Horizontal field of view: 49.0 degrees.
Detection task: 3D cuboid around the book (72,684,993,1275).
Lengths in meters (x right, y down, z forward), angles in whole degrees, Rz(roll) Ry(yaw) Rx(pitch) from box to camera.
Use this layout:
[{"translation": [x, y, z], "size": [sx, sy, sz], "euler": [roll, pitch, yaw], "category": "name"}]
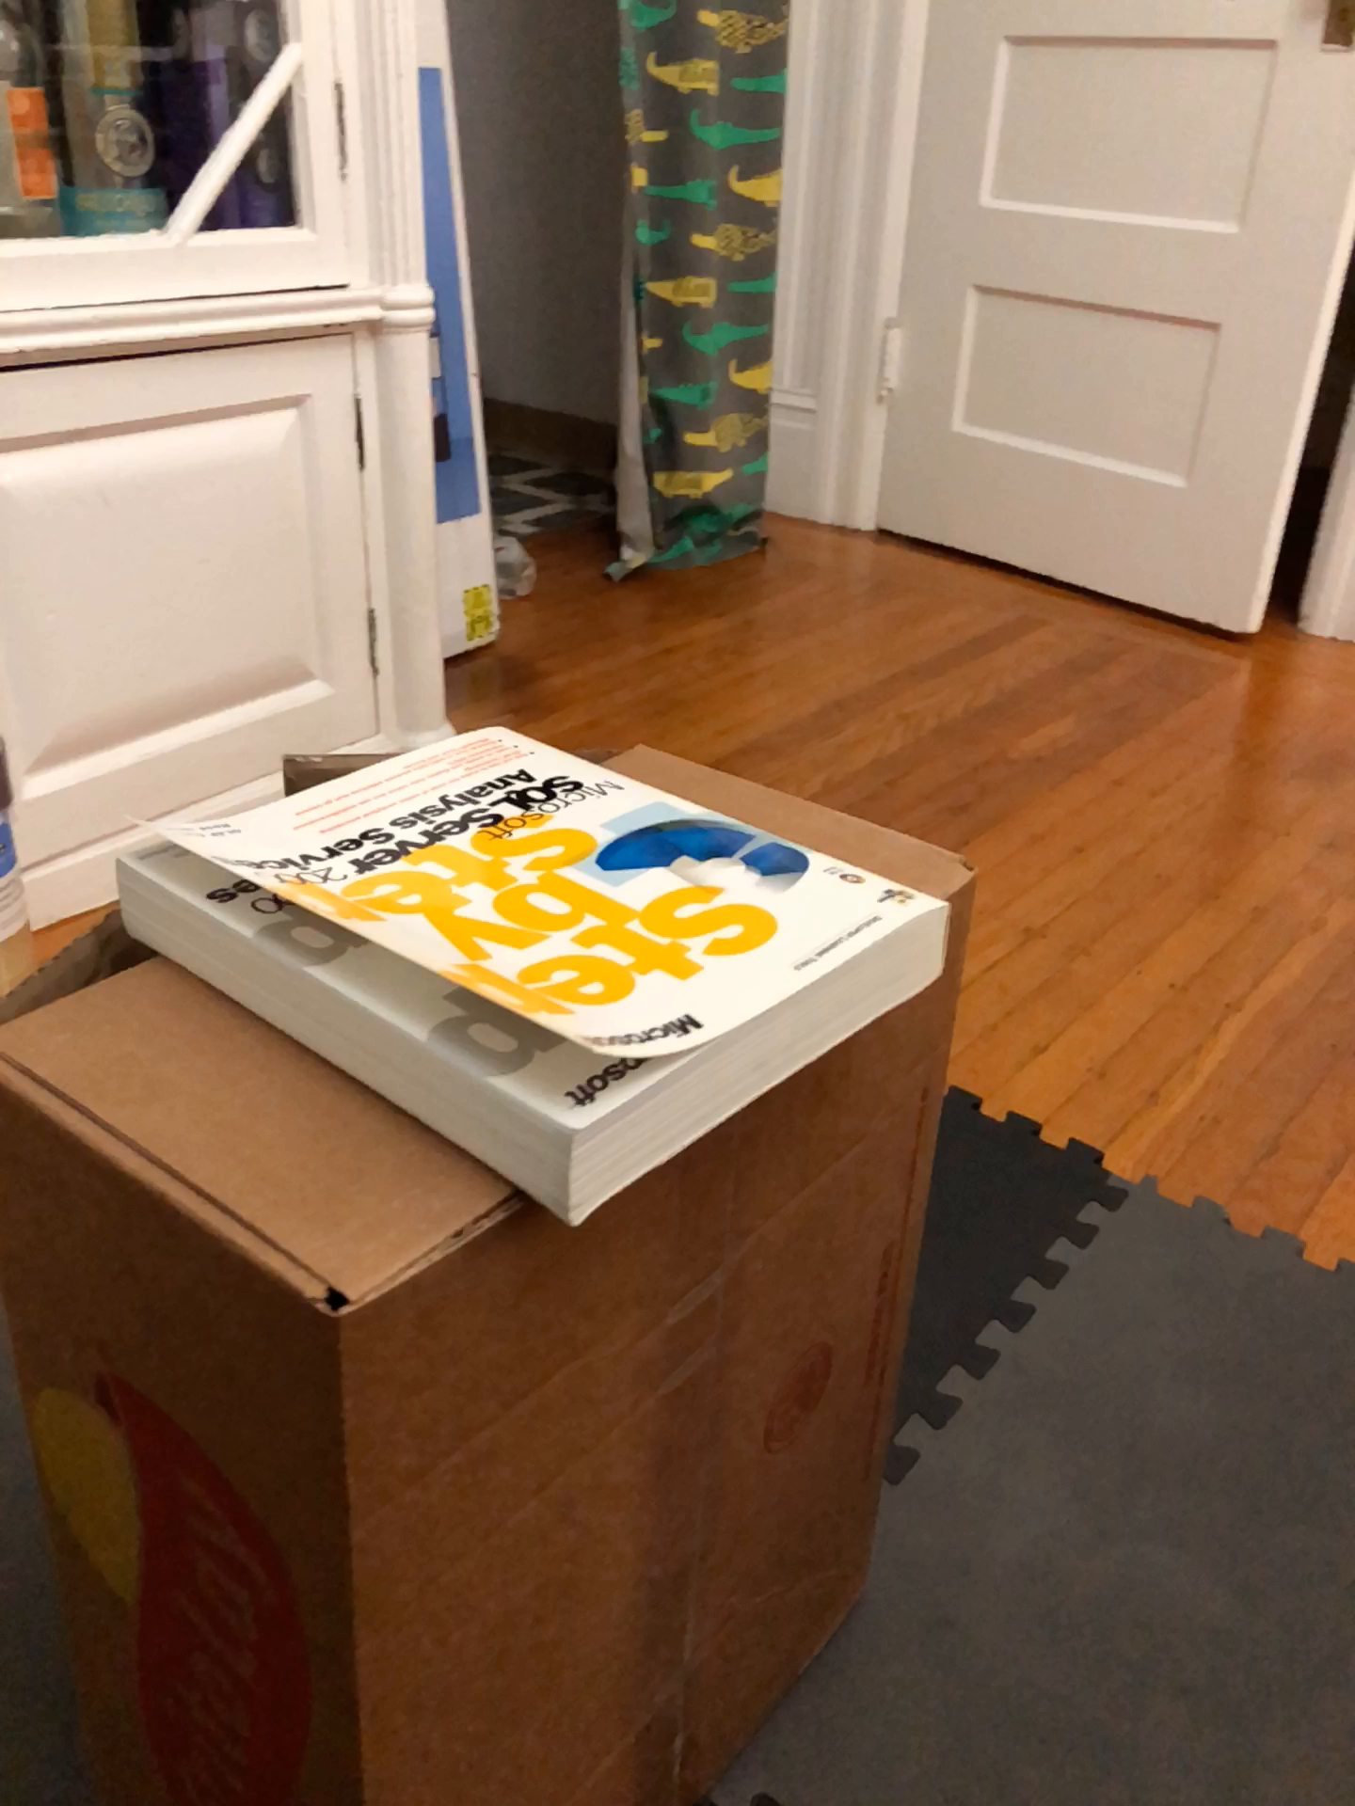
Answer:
[{"translation": [-0.047, 0.003, 0.518], "size": [0.240, 0.050, 0.201], "euler": [20, 35, 32], "category": "book"}]
